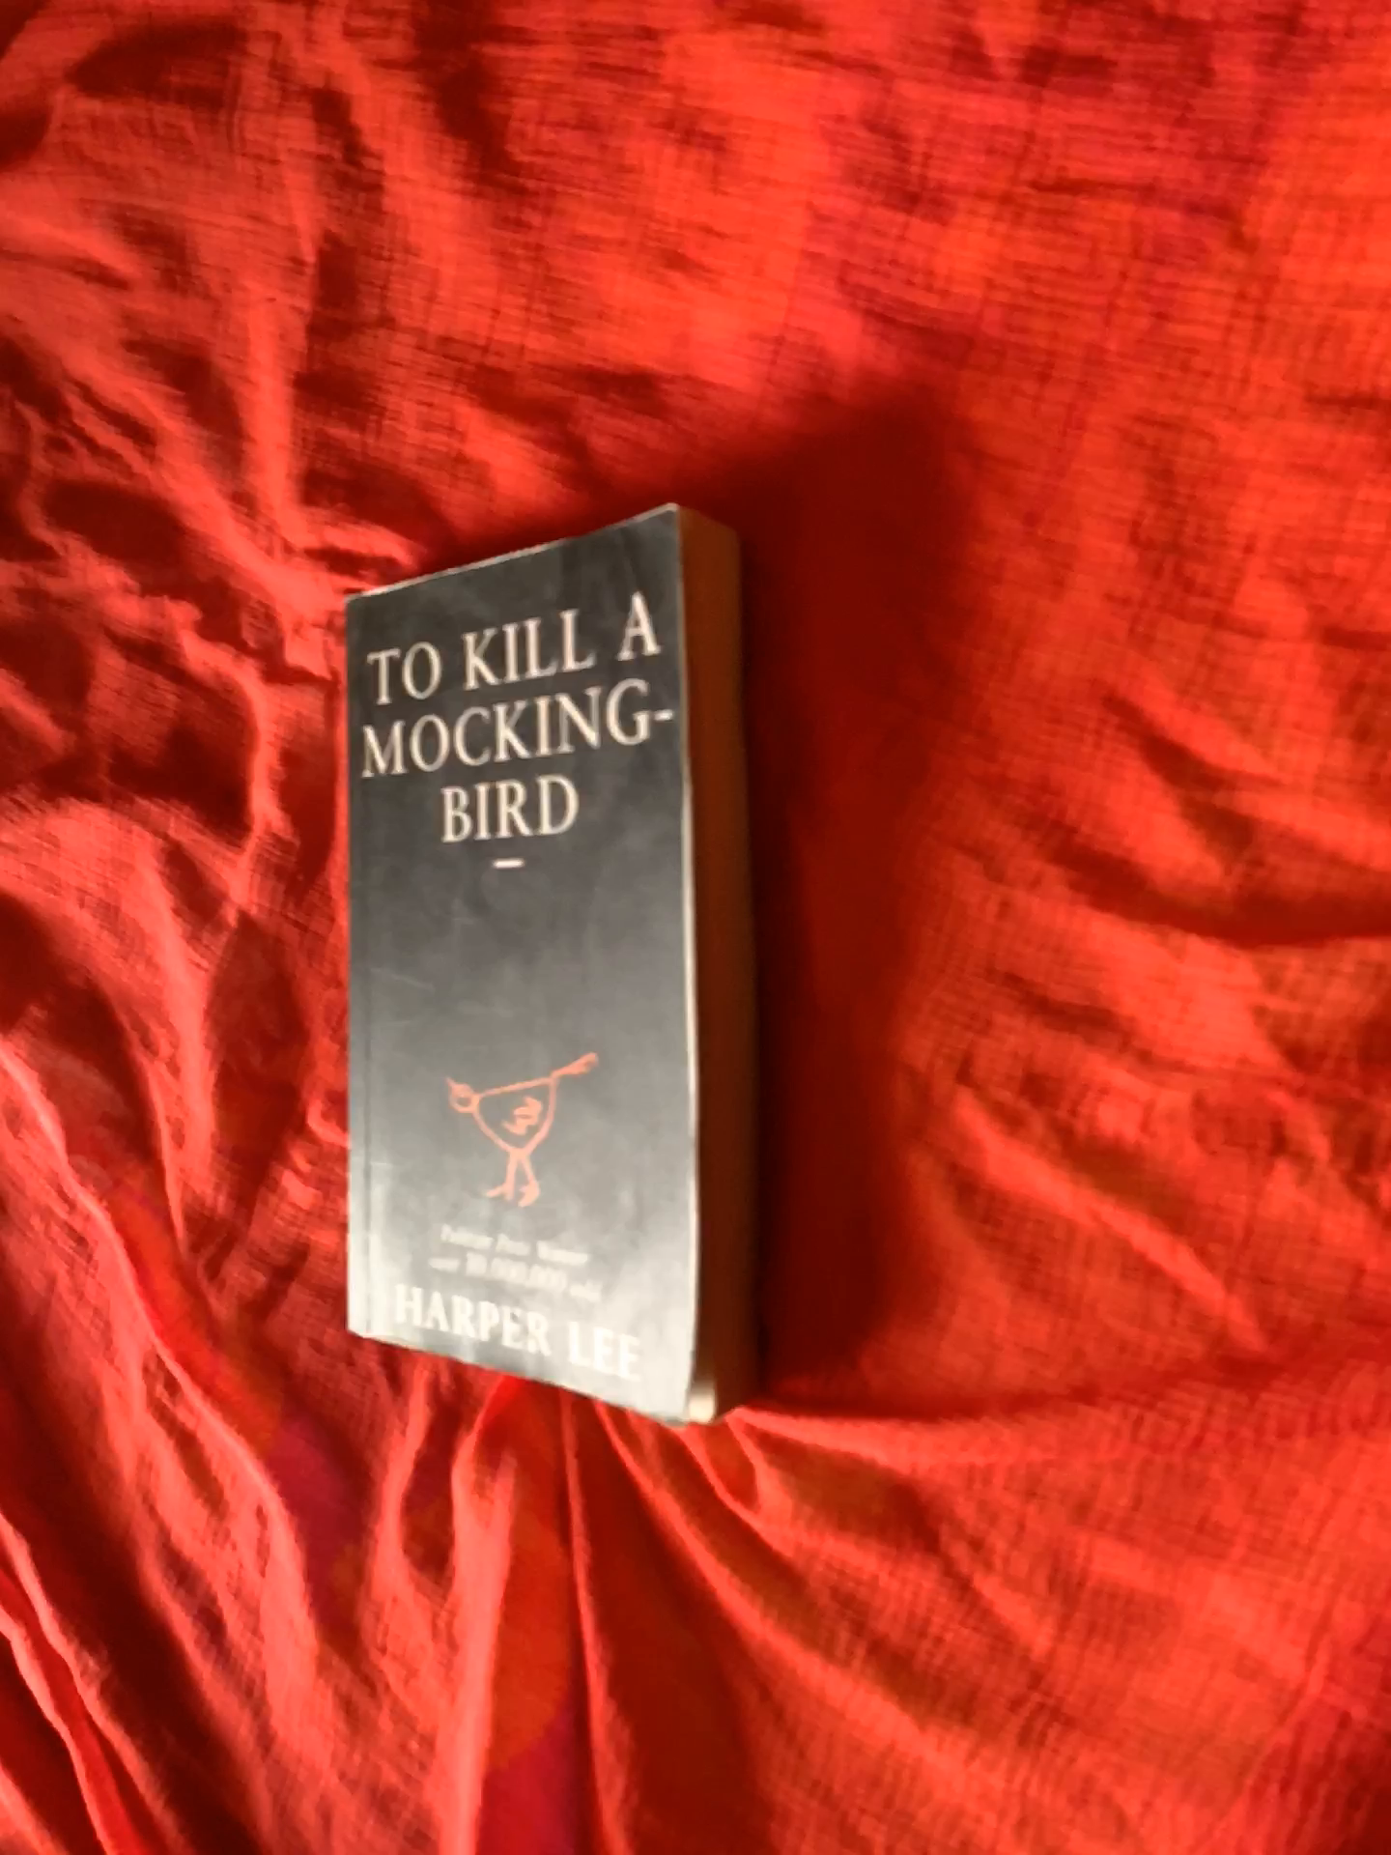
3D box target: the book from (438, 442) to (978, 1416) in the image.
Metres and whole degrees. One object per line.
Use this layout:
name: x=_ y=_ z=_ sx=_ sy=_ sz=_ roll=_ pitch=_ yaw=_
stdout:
book: x=-0.001 y=0.001 z=0.311 sx=0.111 sy=0.040 sz=0.180 roll=-2 pitch=90 yaw=37
